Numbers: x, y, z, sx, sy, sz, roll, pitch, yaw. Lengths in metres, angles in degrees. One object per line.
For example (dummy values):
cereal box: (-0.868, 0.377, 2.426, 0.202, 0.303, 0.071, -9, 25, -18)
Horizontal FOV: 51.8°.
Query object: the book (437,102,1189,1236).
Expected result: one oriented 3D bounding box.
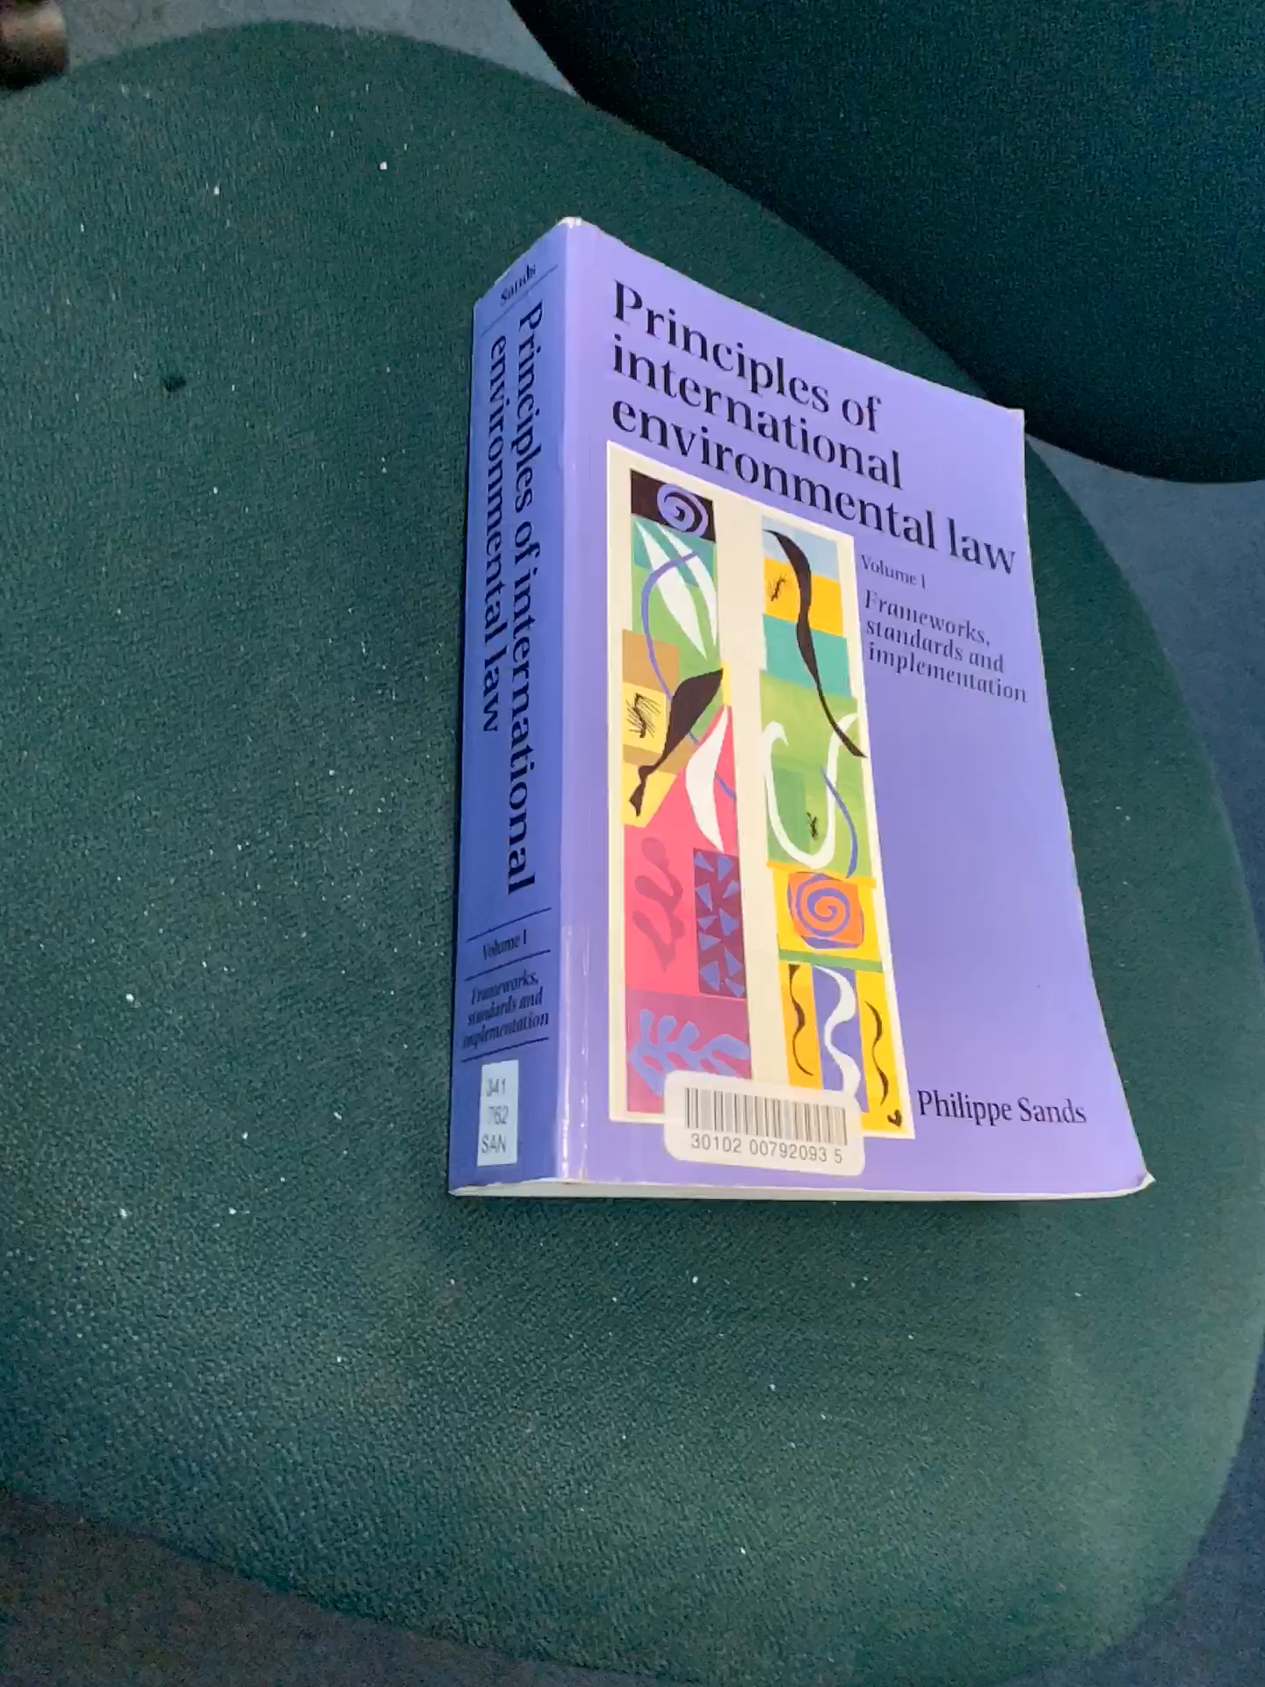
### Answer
book: (0.043, -0.039, 0.346, 0.180, 0.050, 0.271, 10, 66, -30)
